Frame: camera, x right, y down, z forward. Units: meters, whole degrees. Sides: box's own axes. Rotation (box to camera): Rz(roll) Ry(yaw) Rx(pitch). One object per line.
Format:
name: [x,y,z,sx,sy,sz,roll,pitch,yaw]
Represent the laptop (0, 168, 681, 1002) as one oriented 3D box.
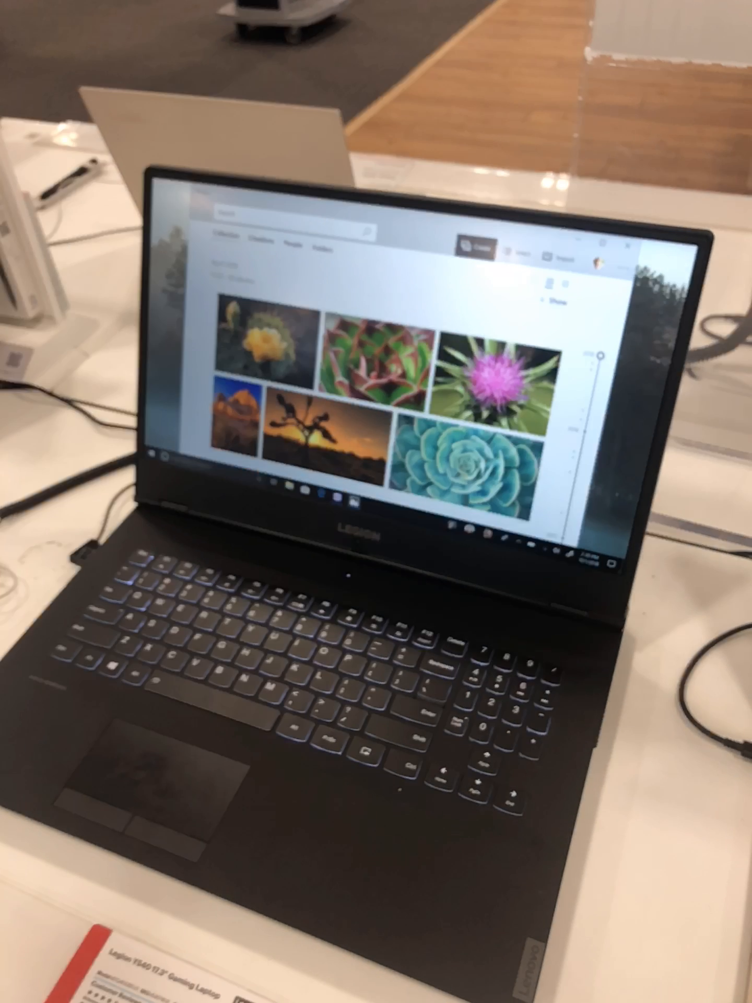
laptop: [-0.052,0.004,0.514,0.382,0.241,0.359,14,44,16]
